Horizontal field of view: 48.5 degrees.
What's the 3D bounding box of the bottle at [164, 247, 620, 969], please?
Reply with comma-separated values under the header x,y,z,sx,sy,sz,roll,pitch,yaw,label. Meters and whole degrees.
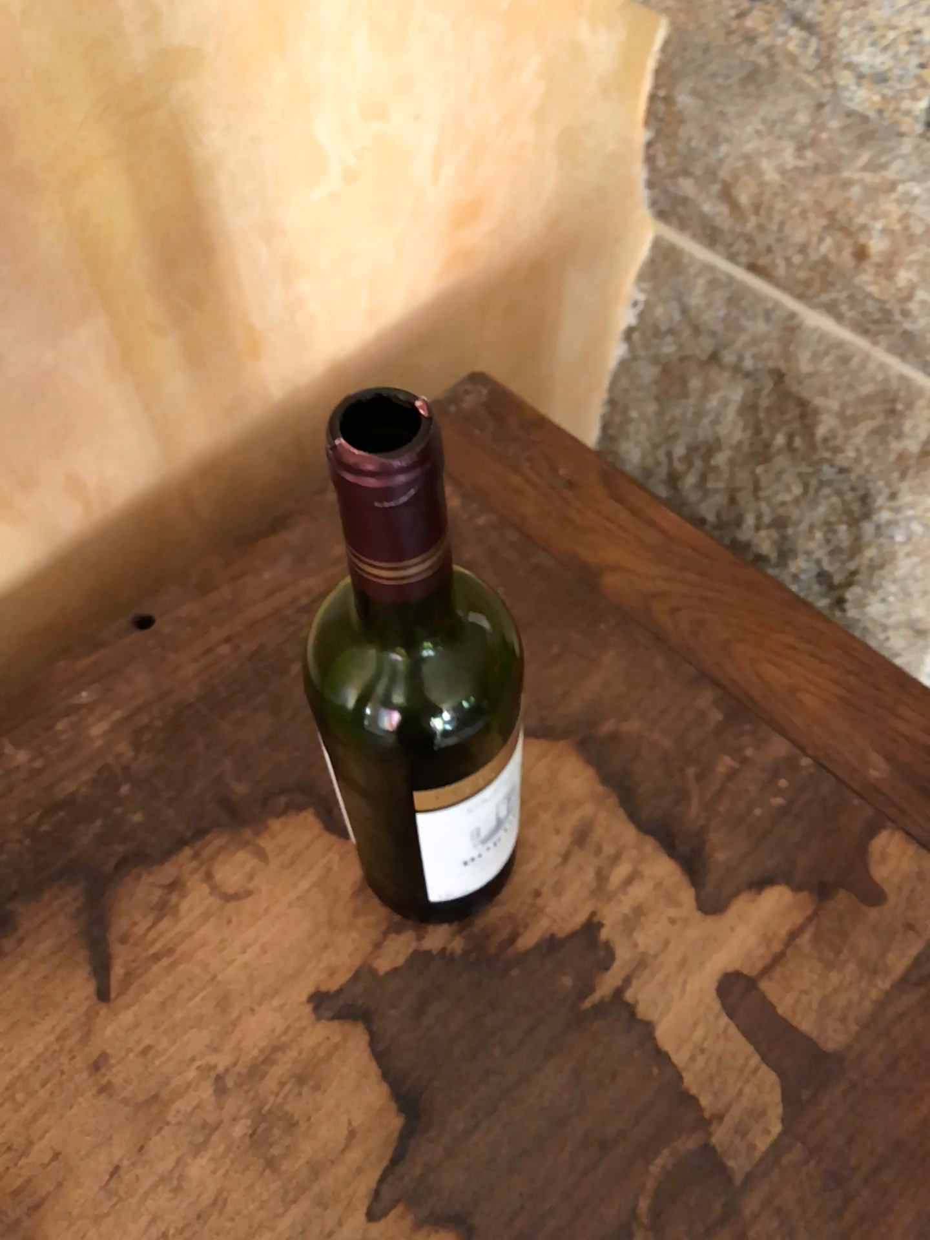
x,y,z,sx,sy,sz,roll,pitch,yaw,label
-0.013,0.027,0.366,0.080,0.289,0.090,17,58,12,bottle
